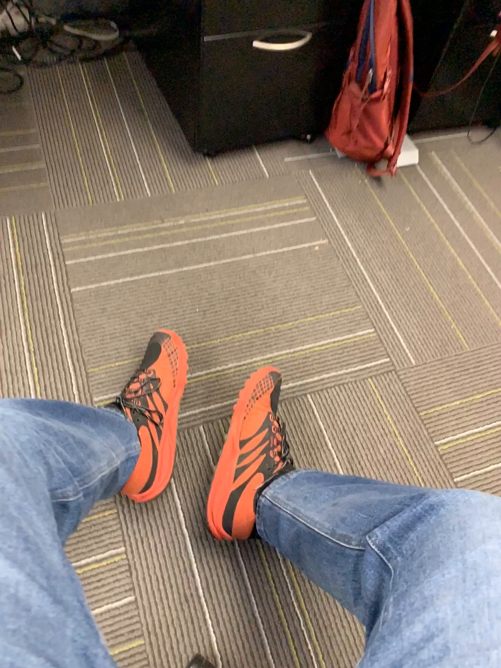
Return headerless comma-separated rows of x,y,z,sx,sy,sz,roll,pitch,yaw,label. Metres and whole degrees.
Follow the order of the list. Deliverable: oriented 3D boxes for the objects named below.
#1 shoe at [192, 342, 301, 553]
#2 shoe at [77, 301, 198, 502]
0.007,0.187,0.886,0.108,0.138,0.318,3,57,14,shoe
-0.188,0.116,0.891,0.108,0.128,0.308,32,48,-39,shoe
